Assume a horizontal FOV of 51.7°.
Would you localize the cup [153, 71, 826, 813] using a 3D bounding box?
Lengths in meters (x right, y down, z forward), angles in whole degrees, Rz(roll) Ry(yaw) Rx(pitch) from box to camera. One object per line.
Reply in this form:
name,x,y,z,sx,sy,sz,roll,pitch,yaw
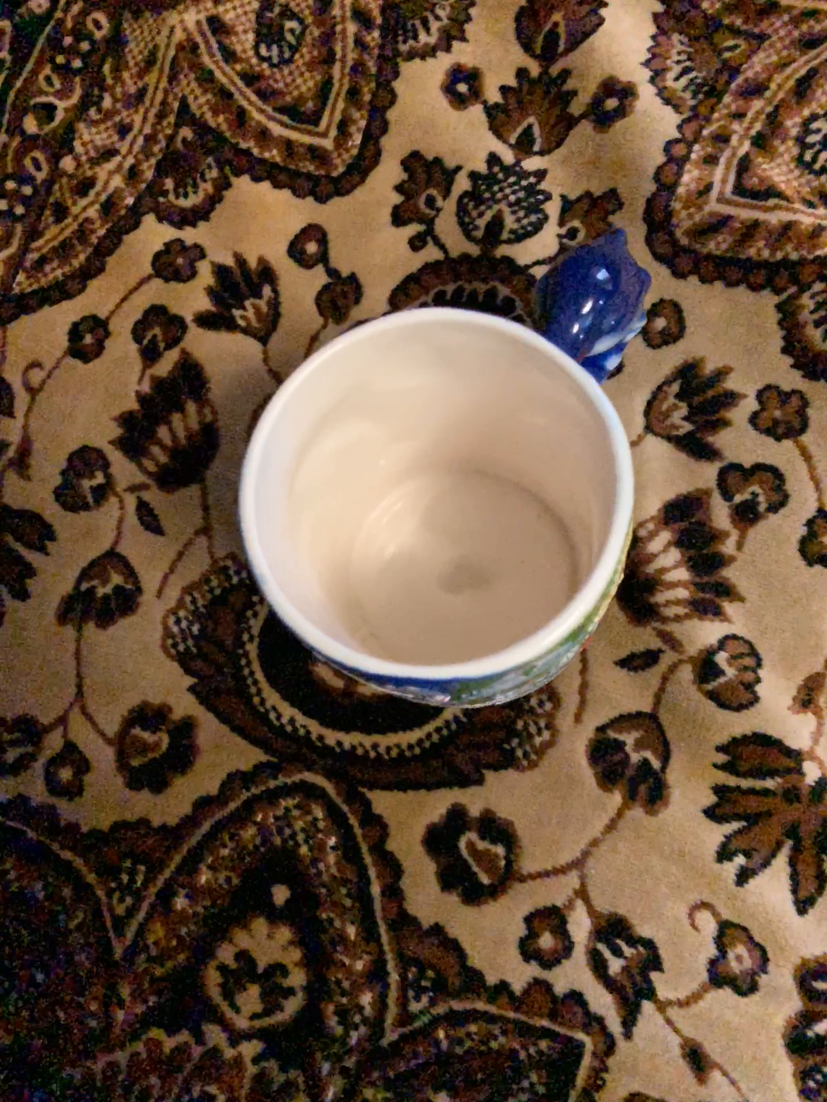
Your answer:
cup,0.026,-0.018,0.220,0.089,0.106,0.127,32,83,12
